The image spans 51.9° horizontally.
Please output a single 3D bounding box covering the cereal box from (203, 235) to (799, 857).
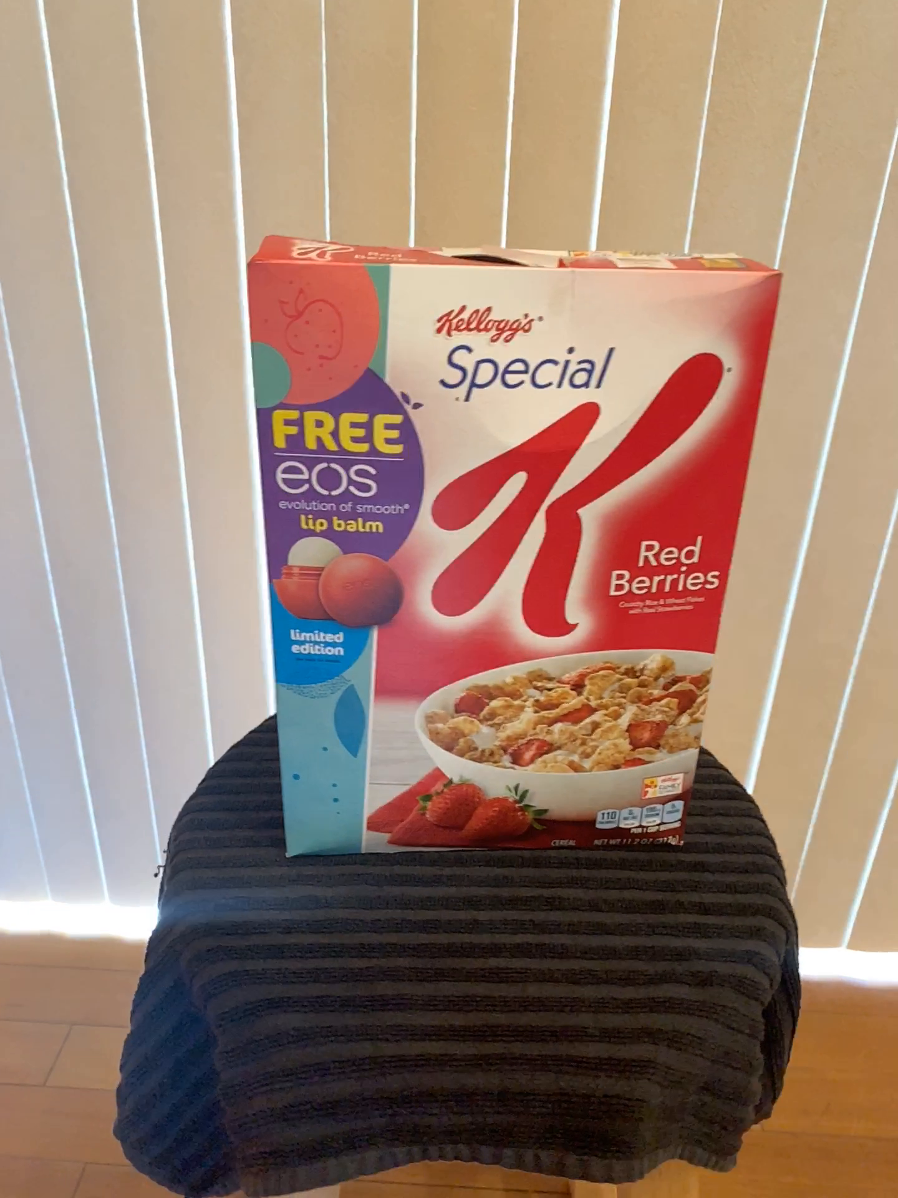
[{"bbox_3d":[0.014,-0.010,0.405,0.210,0.268,0.050,0,27,-5],"label":"cereal box"}]

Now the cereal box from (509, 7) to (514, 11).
[{"bbox_3d":[19.164,-179.997,281.917,1.002,0.994,1.004,-20,34,-36],"label":"cereal box"}]
